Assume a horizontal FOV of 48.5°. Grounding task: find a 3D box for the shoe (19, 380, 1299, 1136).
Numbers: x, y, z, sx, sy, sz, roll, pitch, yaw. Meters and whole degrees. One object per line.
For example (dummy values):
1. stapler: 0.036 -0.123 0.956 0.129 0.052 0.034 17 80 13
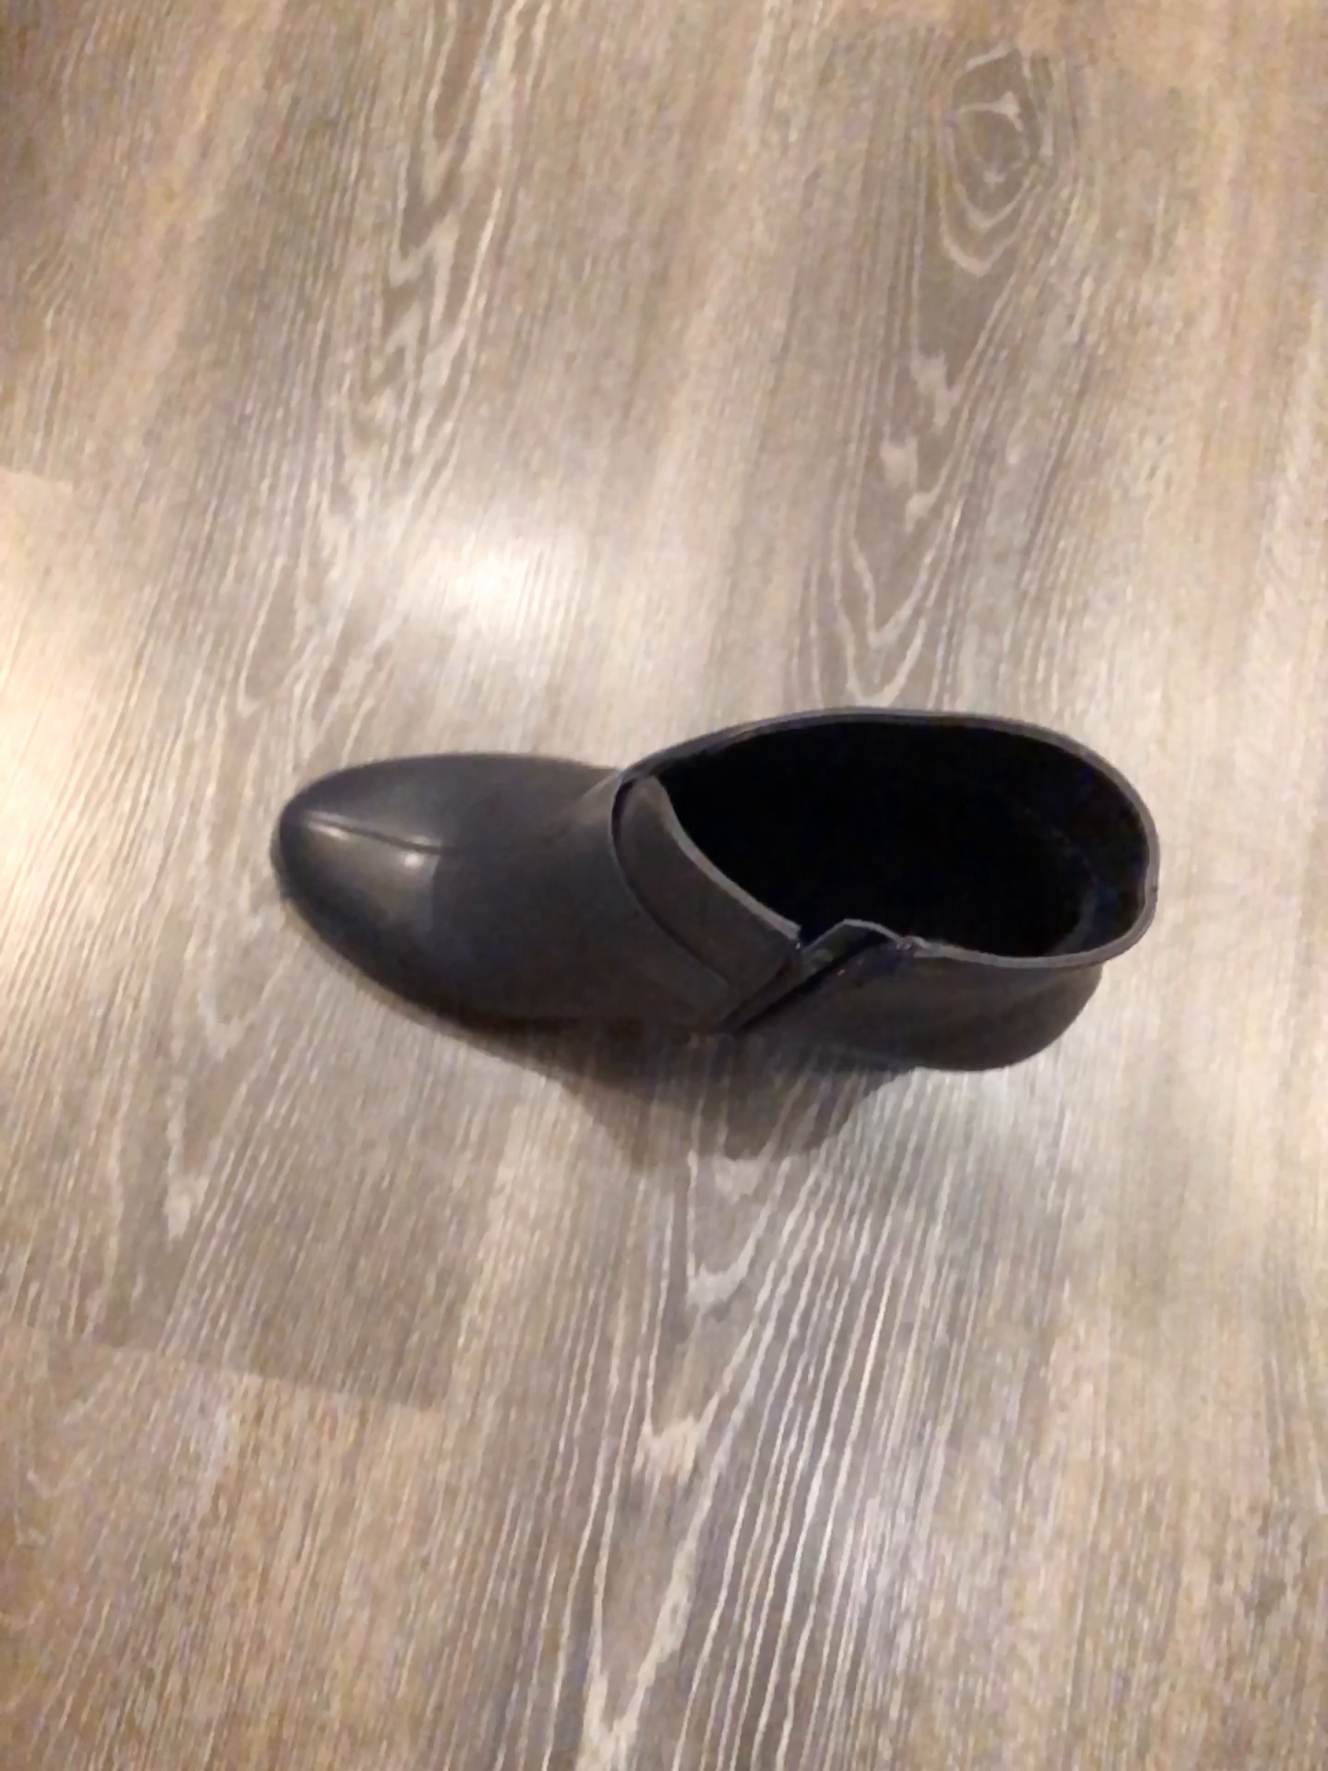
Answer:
1. shoe: -0.002 -0.011 0.382 0.240 0.190 0.090 12 75 -2
